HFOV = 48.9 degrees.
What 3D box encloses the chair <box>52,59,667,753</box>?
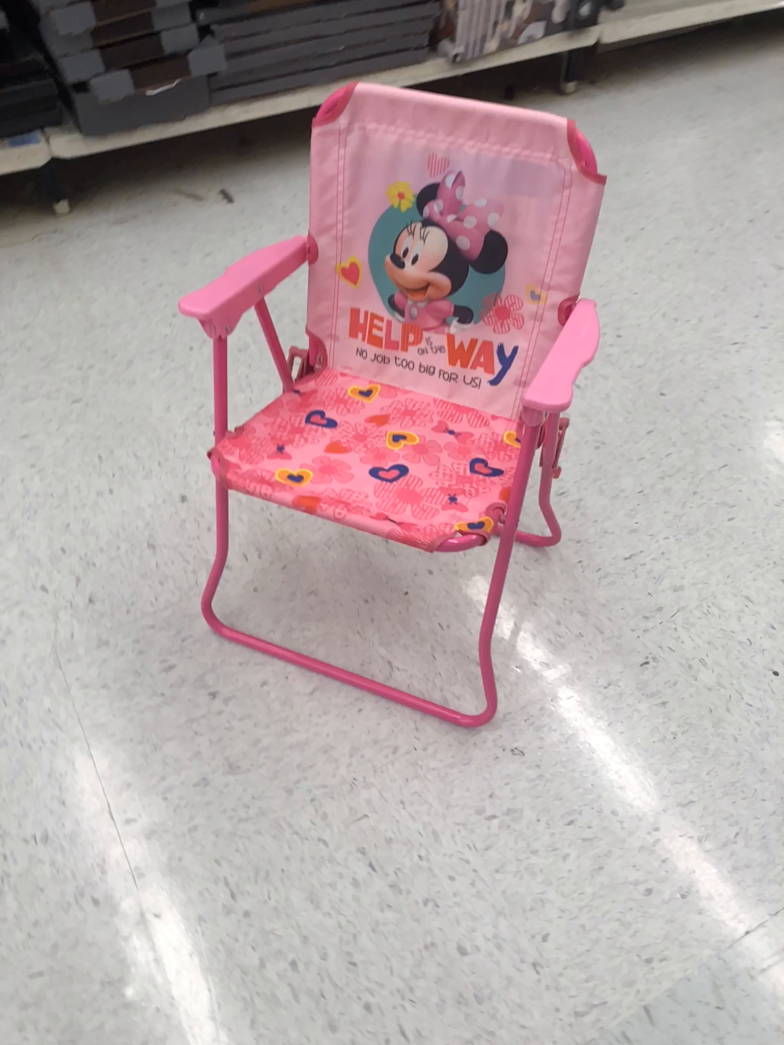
[{"bbox_3d":[-0.006,-0.101,0.836,0.360,0.488,0.341,17,50,15],"label":"chair"}]
